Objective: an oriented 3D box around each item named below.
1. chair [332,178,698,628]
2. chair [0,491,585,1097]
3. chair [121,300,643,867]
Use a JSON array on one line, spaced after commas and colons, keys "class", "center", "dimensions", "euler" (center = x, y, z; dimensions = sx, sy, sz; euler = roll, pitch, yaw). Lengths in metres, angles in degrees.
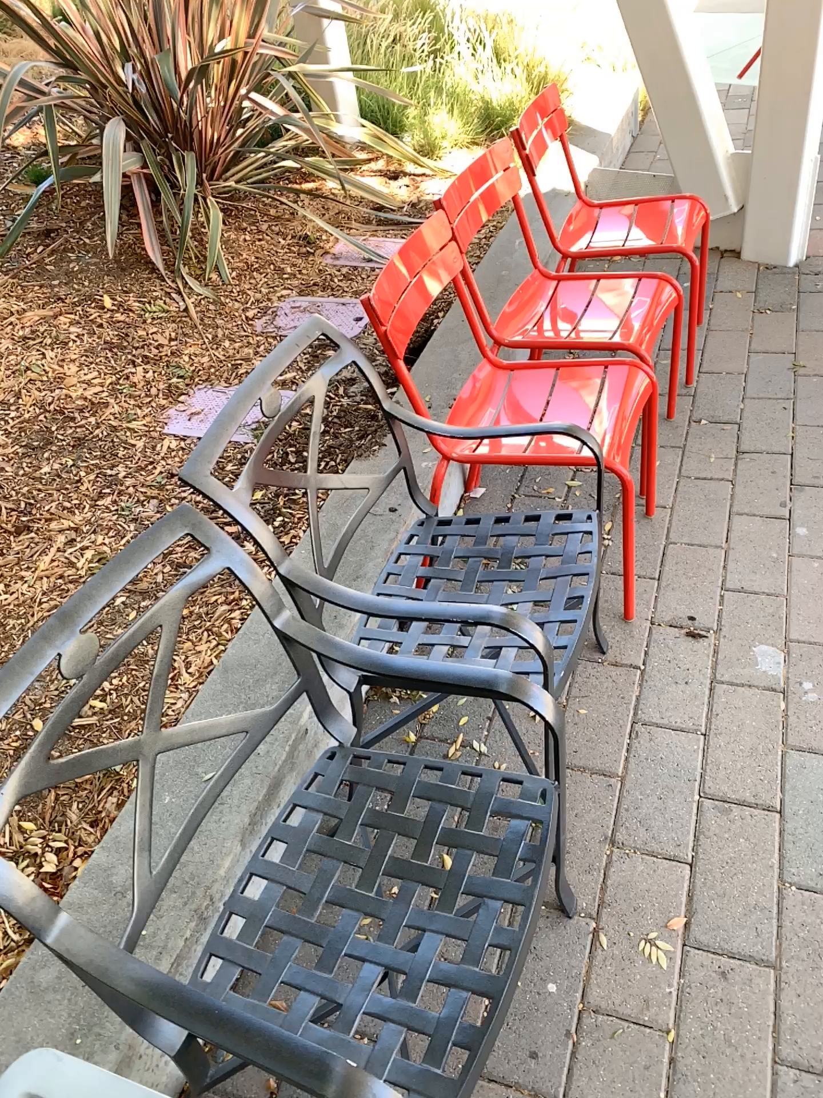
[{"class": "chair", "center": [0.303, -0.360, 2.047], "dimensions": [0.641, 0.815, 0.622], "euler": [7, 43, 20]}, {"class": "chair", "center": [-0.166, 0.462, 1.193], "dimensions": [0.692, 0.815, 0.622], "euler": [7, 43, 20]}, {"class": "chair", "center": [0.041, 0.042, 1.635], "dimensions": [0.692, 0.815, 0.622], "euler": [7, 43, 20]}]
